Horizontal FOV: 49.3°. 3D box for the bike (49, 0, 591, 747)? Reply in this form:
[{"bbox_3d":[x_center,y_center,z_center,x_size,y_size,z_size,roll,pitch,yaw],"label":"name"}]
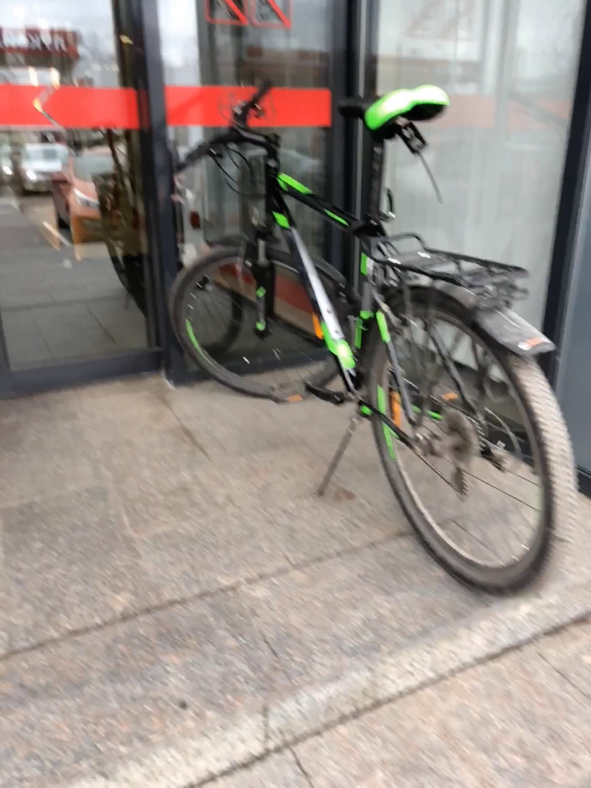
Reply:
[{"bbox_3d":[-0.010,-0.211,1.594,0.629,1.052,1.550,-13,24,-31],"label":"bike"}]
